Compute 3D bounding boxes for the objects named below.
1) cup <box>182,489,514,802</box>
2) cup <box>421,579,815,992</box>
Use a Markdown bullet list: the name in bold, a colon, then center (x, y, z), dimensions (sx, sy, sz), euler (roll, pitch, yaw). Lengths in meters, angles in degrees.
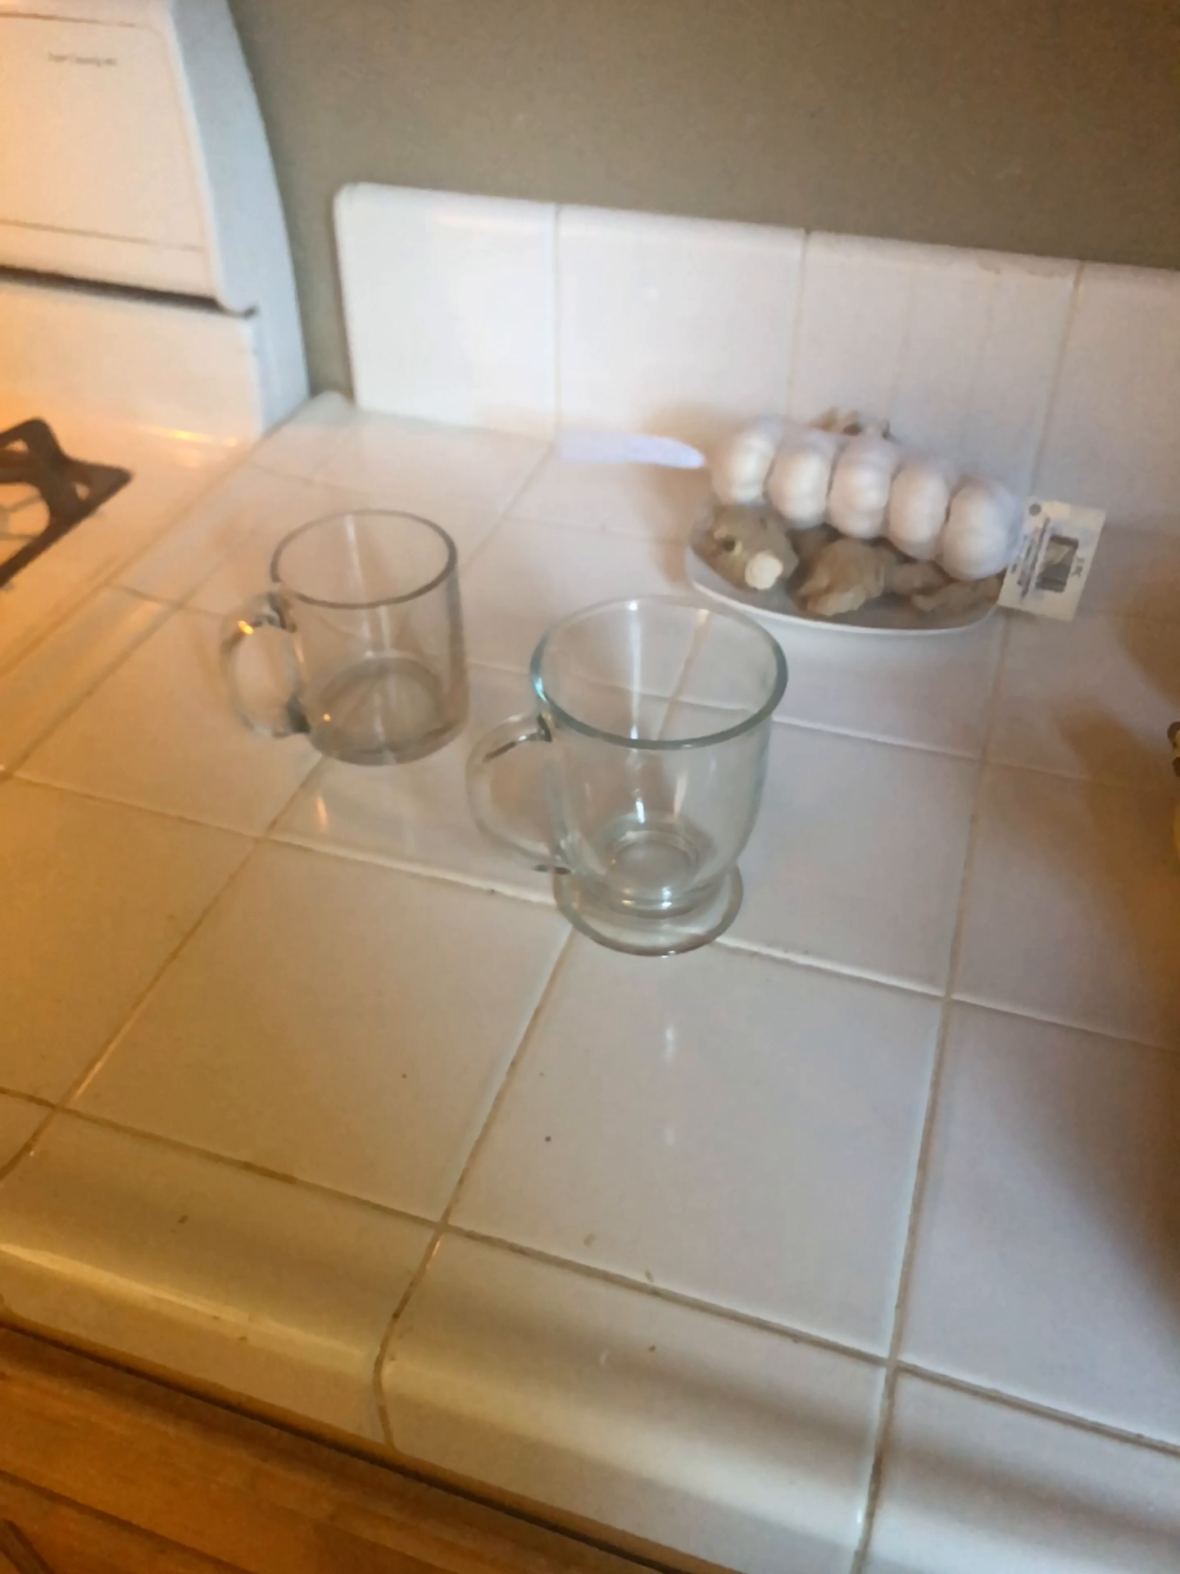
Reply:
- **cup**: center (-0.113, -0.069, 0.622), dimensions (0.130, 0.089, 0.091), euler (-13, 43, -14)
- **cup**: center (0.007, -0.001, 0.518), dimensions (0.130, 0.119, 0.091), euler (-7, 42, -7)
